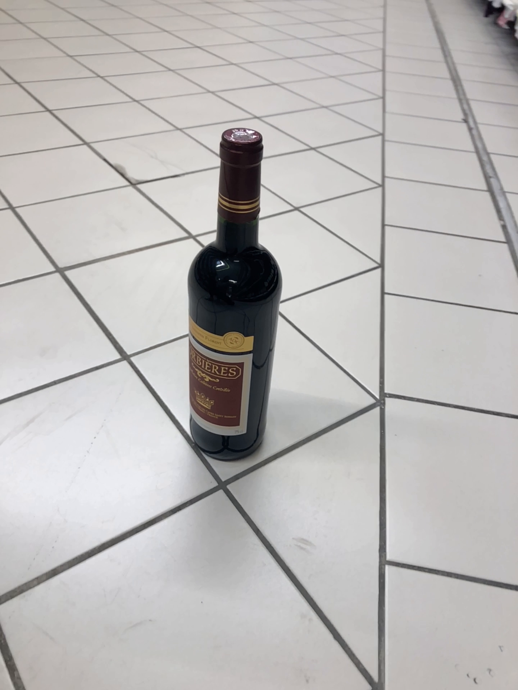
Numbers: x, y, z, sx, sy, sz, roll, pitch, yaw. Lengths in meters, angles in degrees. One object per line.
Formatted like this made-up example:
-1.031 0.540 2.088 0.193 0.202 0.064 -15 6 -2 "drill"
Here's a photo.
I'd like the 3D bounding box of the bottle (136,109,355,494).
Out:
-0.017 -0.023 0.447 0.100 0.268 0.101 4 39 -3 "bottle"
